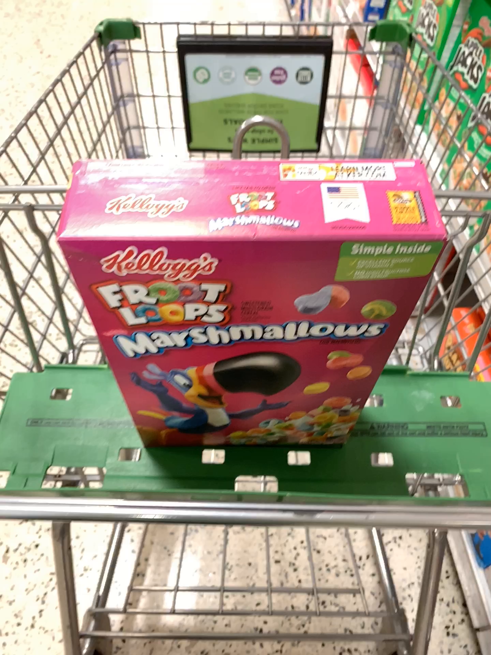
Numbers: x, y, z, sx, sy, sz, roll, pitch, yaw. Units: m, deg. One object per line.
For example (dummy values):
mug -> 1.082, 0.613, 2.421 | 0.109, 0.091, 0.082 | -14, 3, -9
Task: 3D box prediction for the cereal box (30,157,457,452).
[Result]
cereal box -> -0.002, 0.013, 0.376 | 0.200, 0.288, 0.061 | 0, 57, -1
